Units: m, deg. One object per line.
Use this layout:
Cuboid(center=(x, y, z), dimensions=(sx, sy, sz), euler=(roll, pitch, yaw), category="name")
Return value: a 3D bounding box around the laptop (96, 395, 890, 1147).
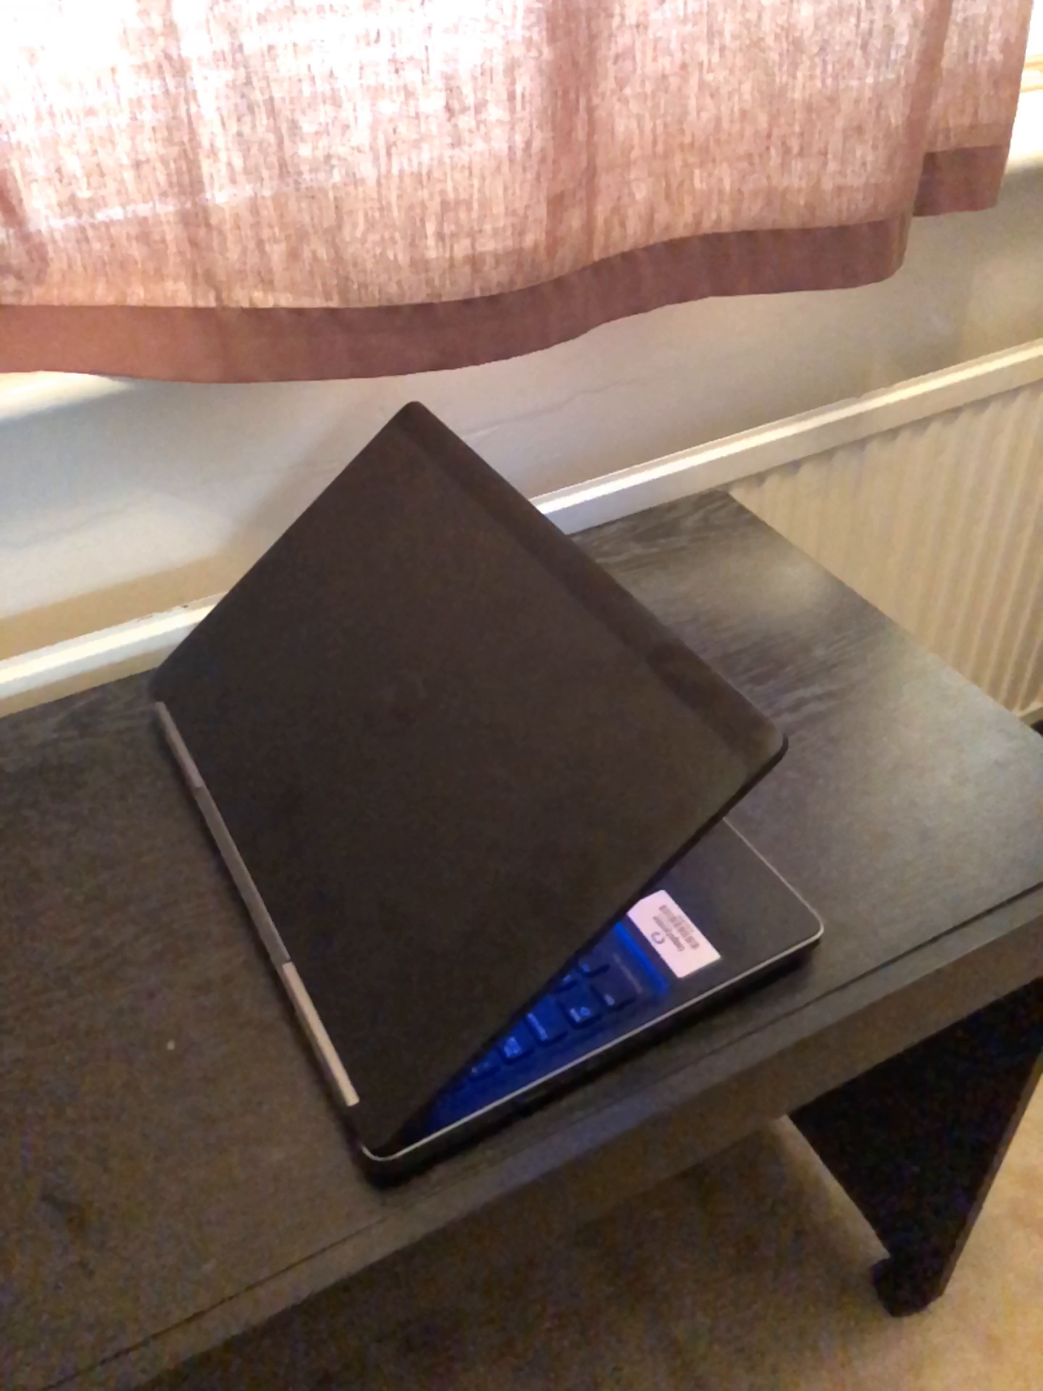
Cuboid(center=(-0.041, 0.002, 0.605), dimensions=(0.243, 0.134, 0.364), euler=(-21, 44, -19), category="laptop")
